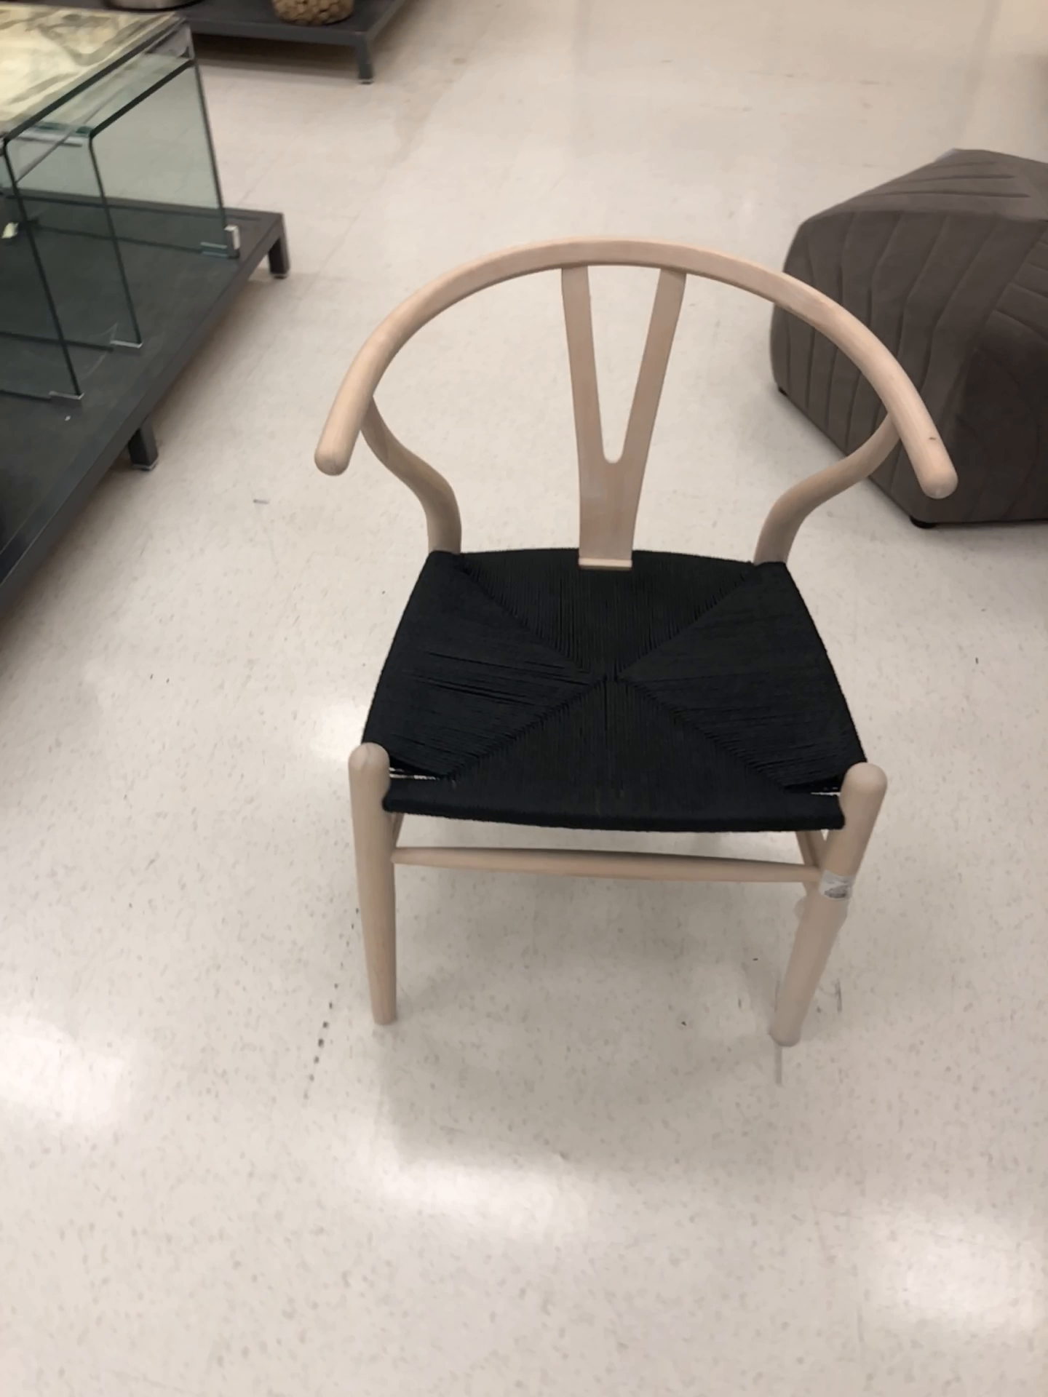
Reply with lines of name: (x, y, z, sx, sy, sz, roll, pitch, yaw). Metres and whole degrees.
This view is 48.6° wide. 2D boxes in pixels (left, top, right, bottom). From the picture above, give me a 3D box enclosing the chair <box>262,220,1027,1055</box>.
chair: (0.095, -0.045, 1.304, 0.559, 0.728, 0.558, 3, 47, 1)
